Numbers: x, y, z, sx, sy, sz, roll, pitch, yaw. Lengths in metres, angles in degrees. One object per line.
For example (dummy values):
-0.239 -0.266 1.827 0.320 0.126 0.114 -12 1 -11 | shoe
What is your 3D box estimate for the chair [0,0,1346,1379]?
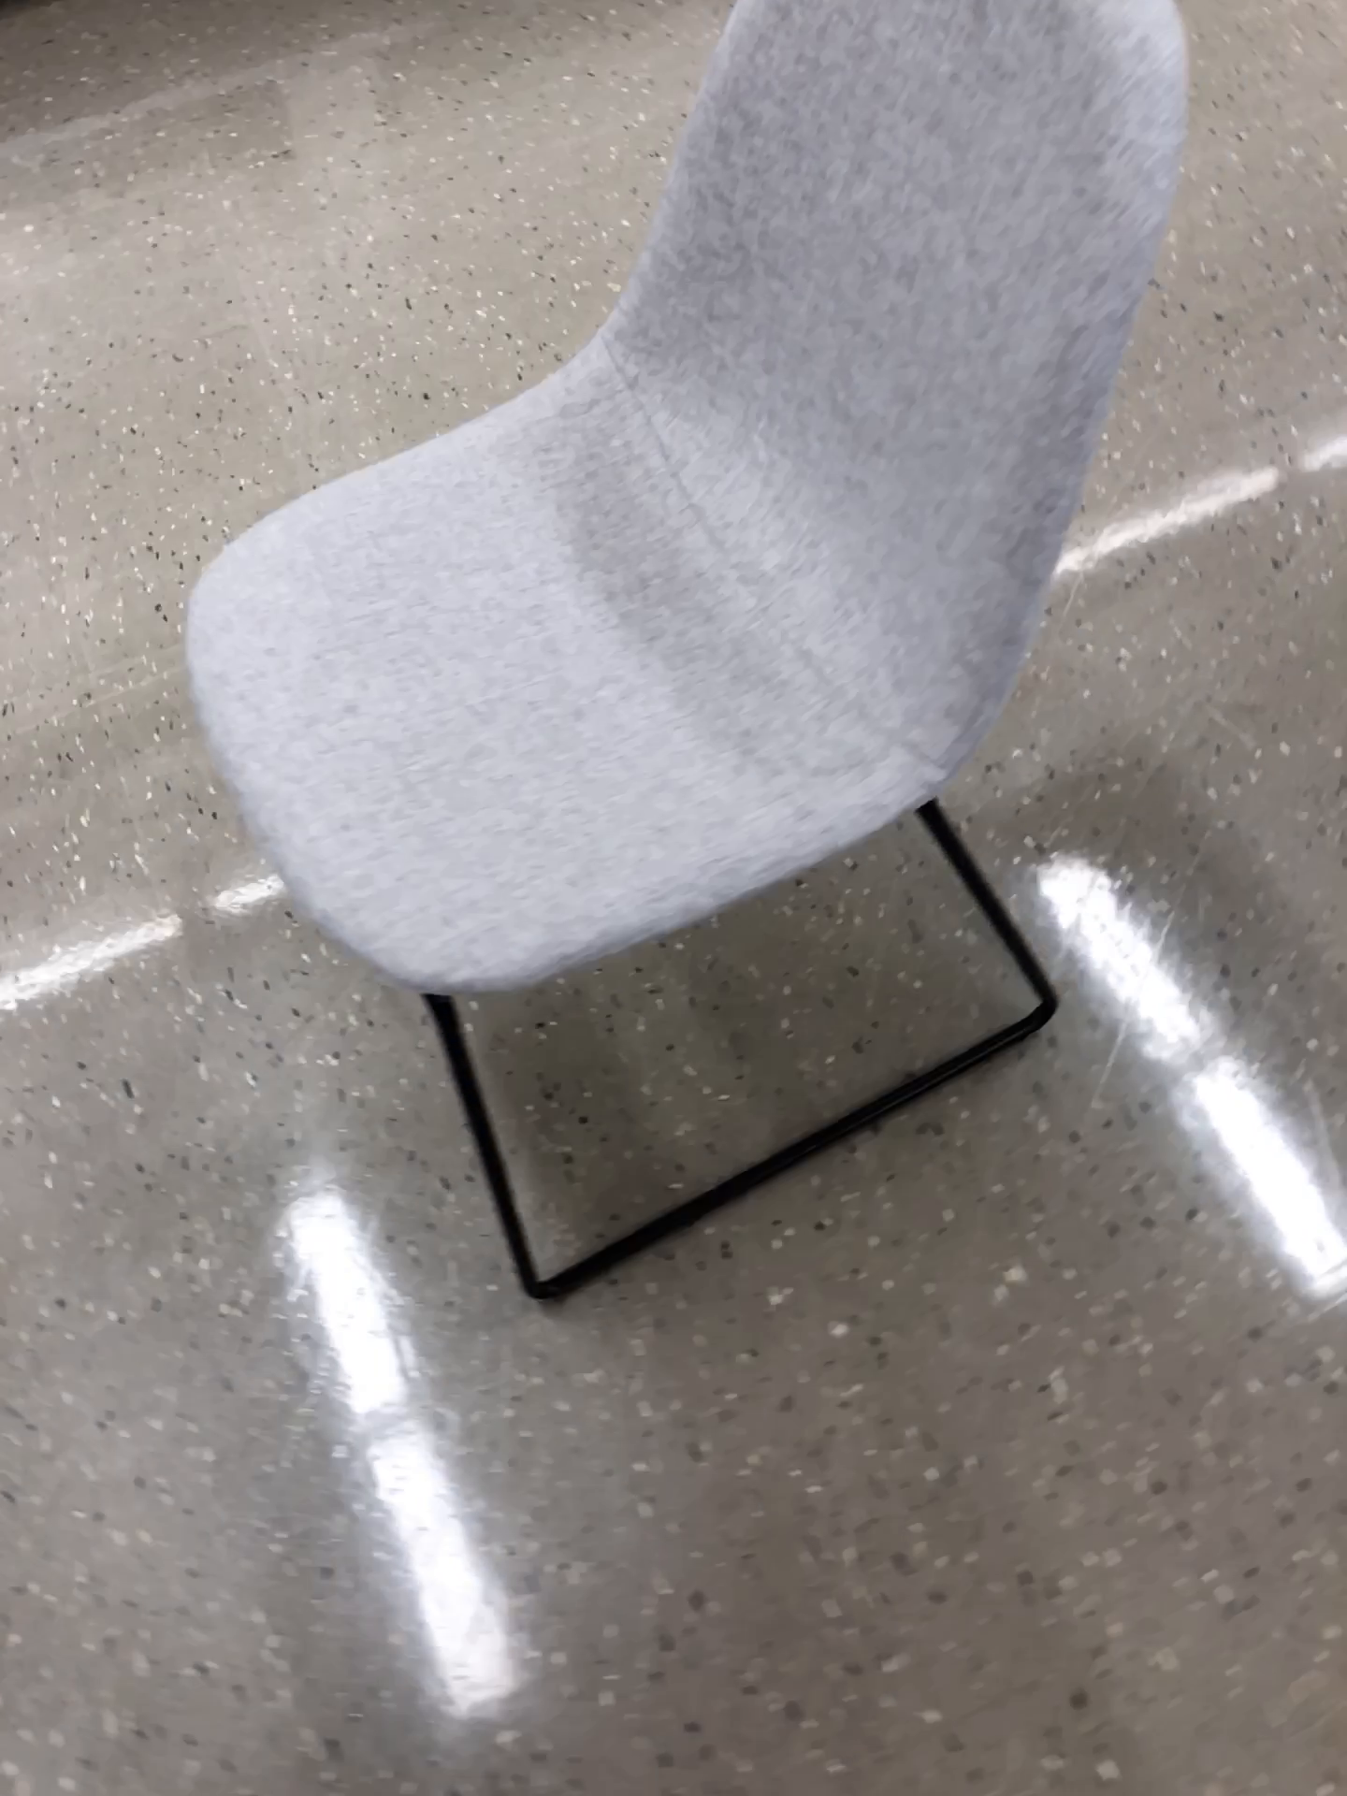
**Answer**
-0.047 -0.182 0.976 0.580 0.778 0.591 -27 62 -12 | chair
